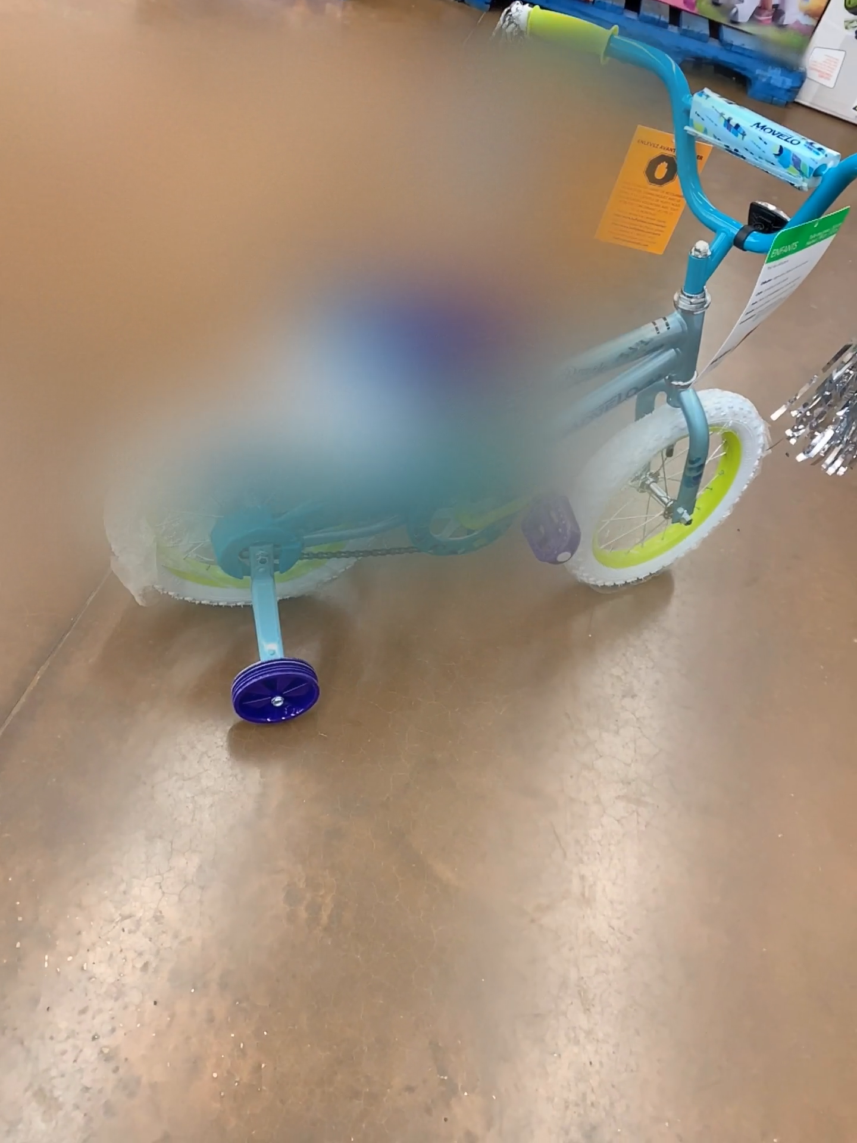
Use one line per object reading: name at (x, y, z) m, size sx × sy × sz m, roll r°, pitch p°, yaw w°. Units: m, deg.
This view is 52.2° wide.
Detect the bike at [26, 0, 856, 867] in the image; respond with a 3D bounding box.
bike at (0.110, -0.198, 0.968) m, size 0.860 × 0.639 × 0.624 m, roll -9°, pitch 54°, yaw -23°
